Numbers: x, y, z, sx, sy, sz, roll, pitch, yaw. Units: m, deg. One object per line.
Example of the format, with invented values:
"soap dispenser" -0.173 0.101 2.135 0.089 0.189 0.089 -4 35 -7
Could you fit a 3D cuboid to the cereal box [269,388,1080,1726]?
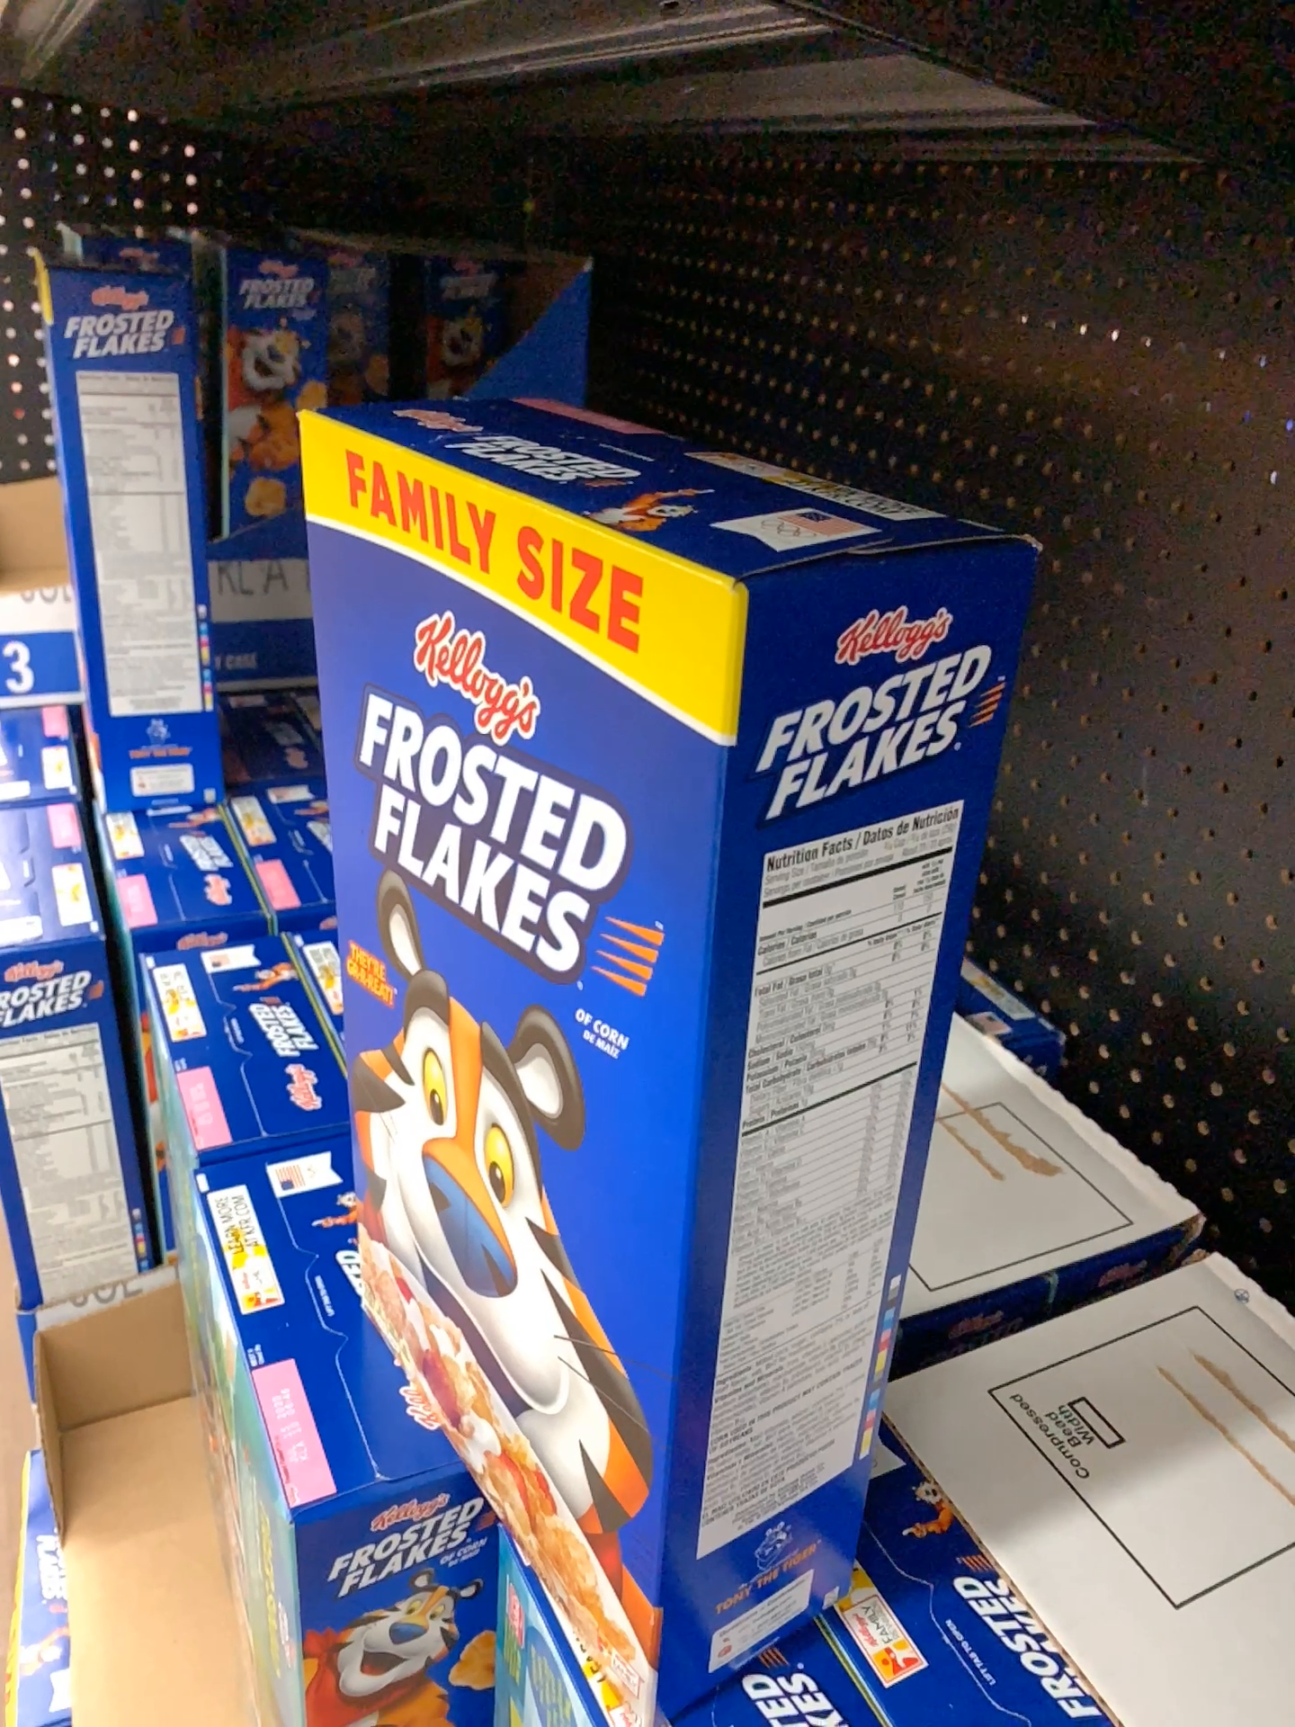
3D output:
"cereal box" -0.019 0.052 0.373 0.080 0.318 0.211 -14 32 -30
